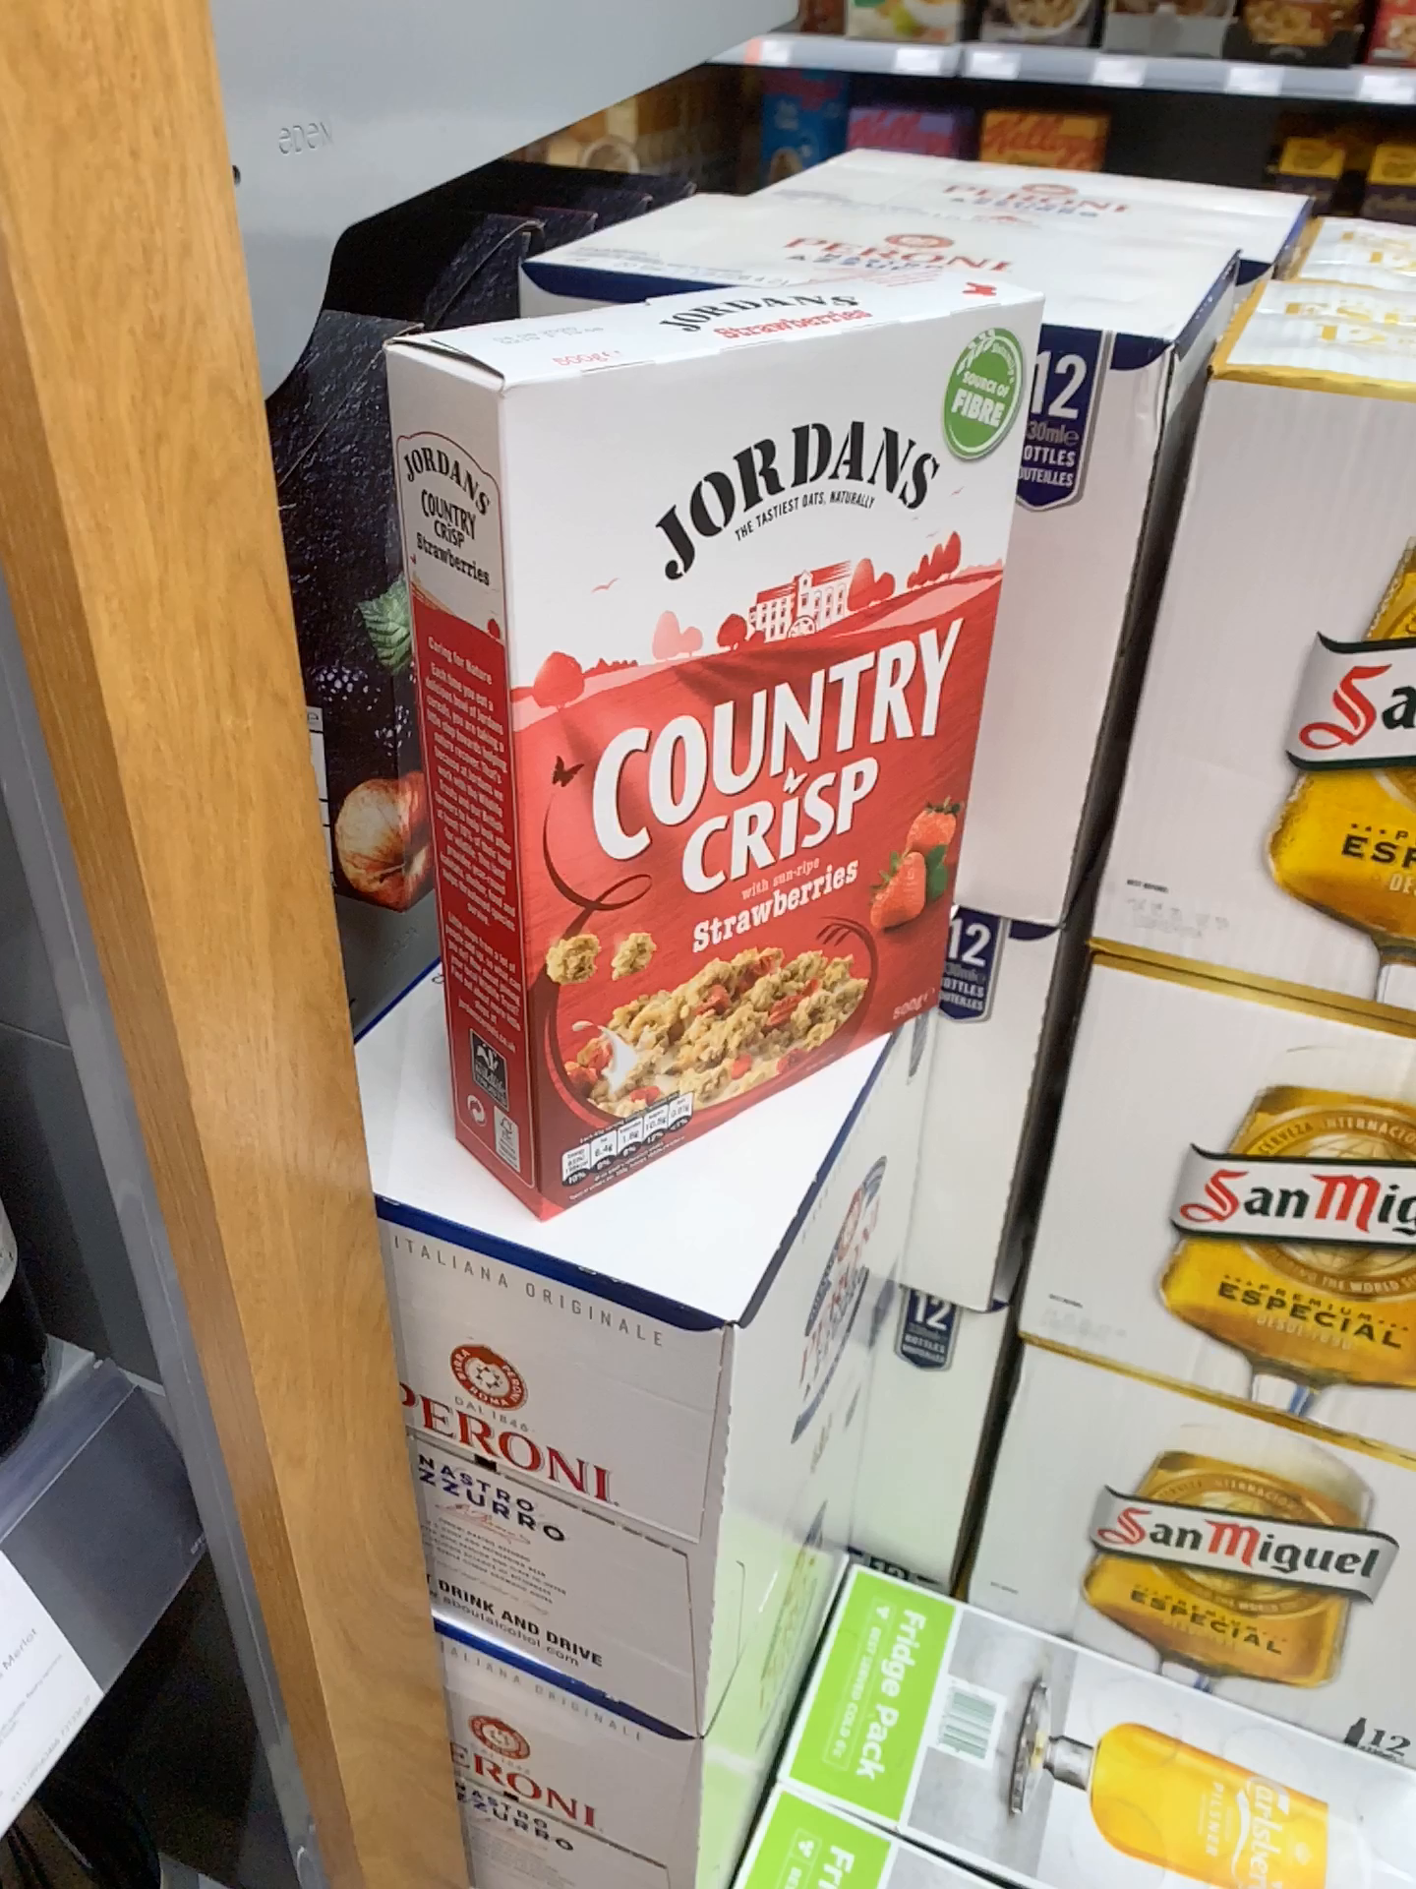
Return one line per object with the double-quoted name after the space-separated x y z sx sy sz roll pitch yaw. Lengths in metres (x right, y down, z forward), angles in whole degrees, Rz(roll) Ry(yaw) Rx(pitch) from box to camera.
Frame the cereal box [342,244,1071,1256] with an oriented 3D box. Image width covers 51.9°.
0.006 -0.056 0.424 0.191 0.248 0.050 -24 42 -33 "cereal box"
